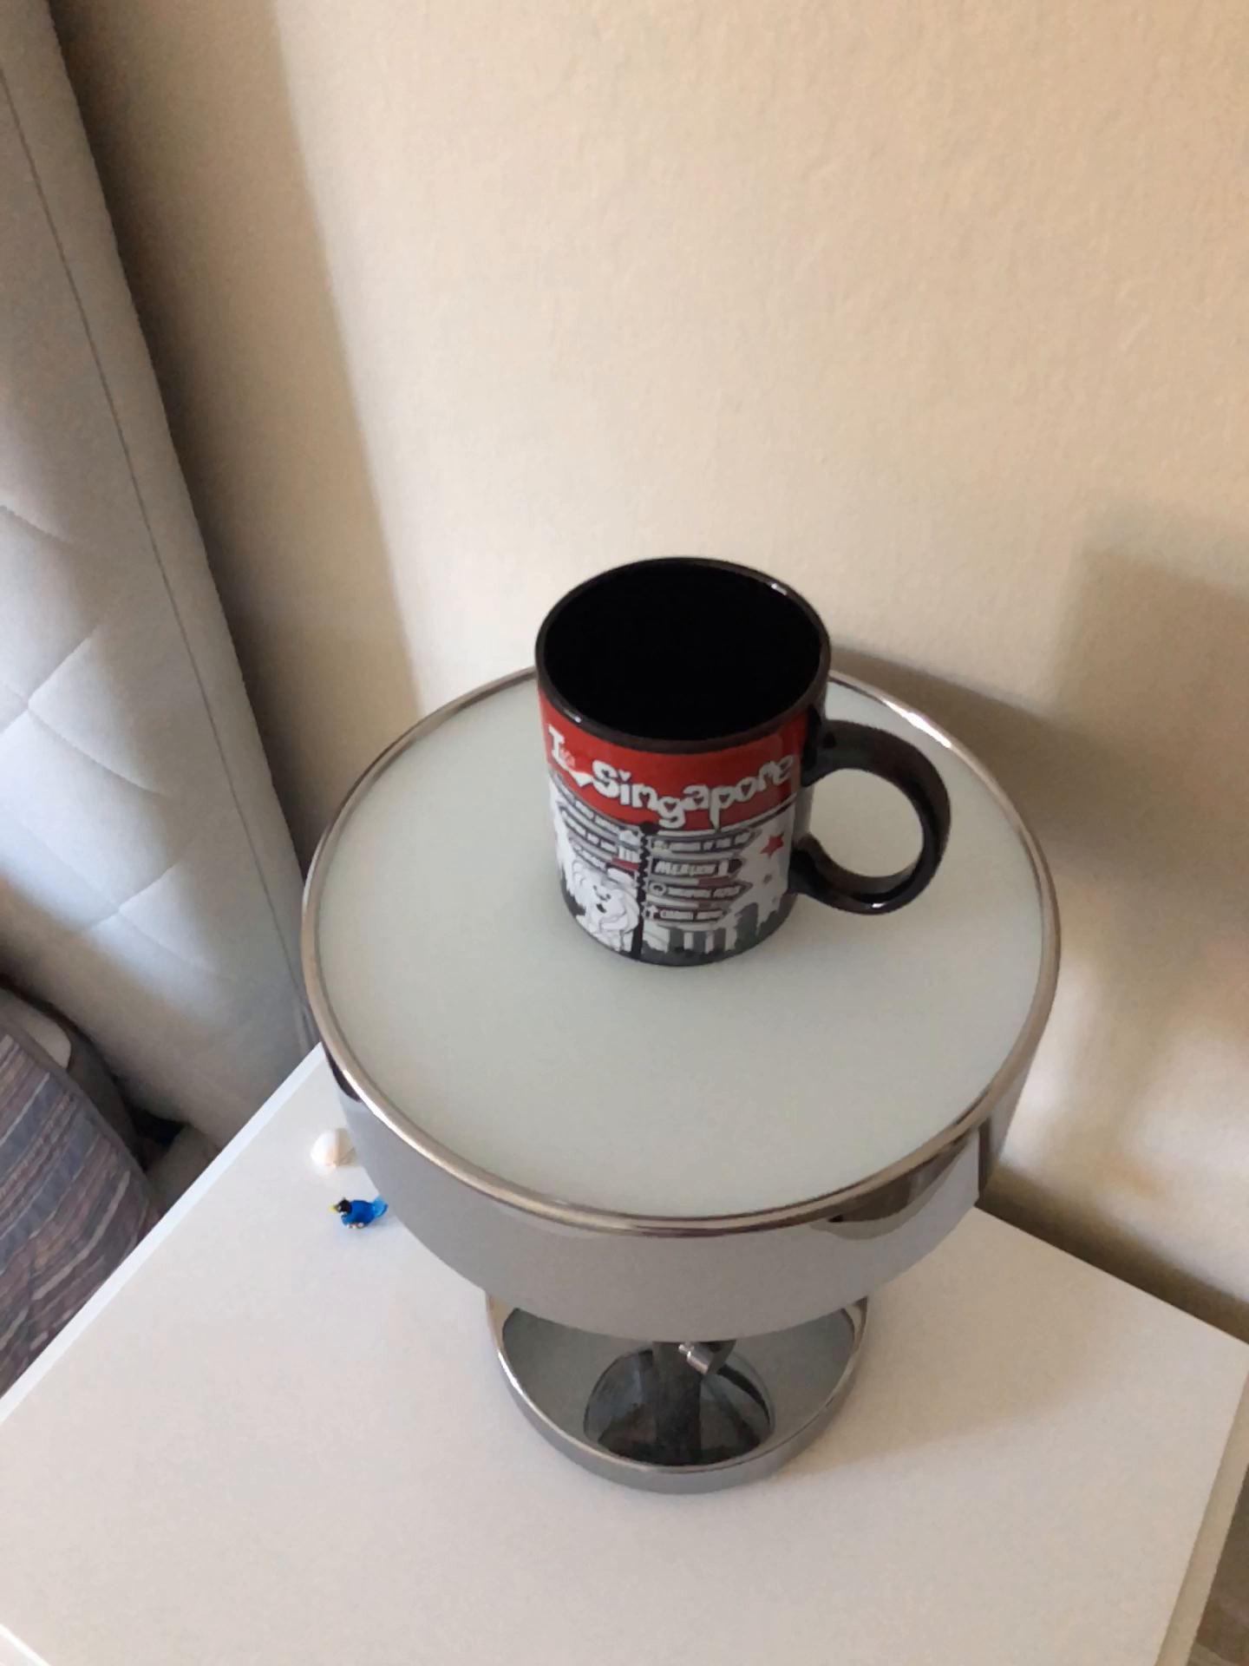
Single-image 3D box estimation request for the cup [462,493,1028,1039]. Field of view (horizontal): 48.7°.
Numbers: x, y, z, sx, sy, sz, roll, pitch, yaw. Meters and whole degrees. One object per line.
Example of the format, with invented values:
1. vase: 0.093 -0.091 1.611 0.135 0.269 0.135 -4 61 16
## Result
1. cup: 0.036 -0.021 0.402 0.130 0.100 0.090 13 49 14
